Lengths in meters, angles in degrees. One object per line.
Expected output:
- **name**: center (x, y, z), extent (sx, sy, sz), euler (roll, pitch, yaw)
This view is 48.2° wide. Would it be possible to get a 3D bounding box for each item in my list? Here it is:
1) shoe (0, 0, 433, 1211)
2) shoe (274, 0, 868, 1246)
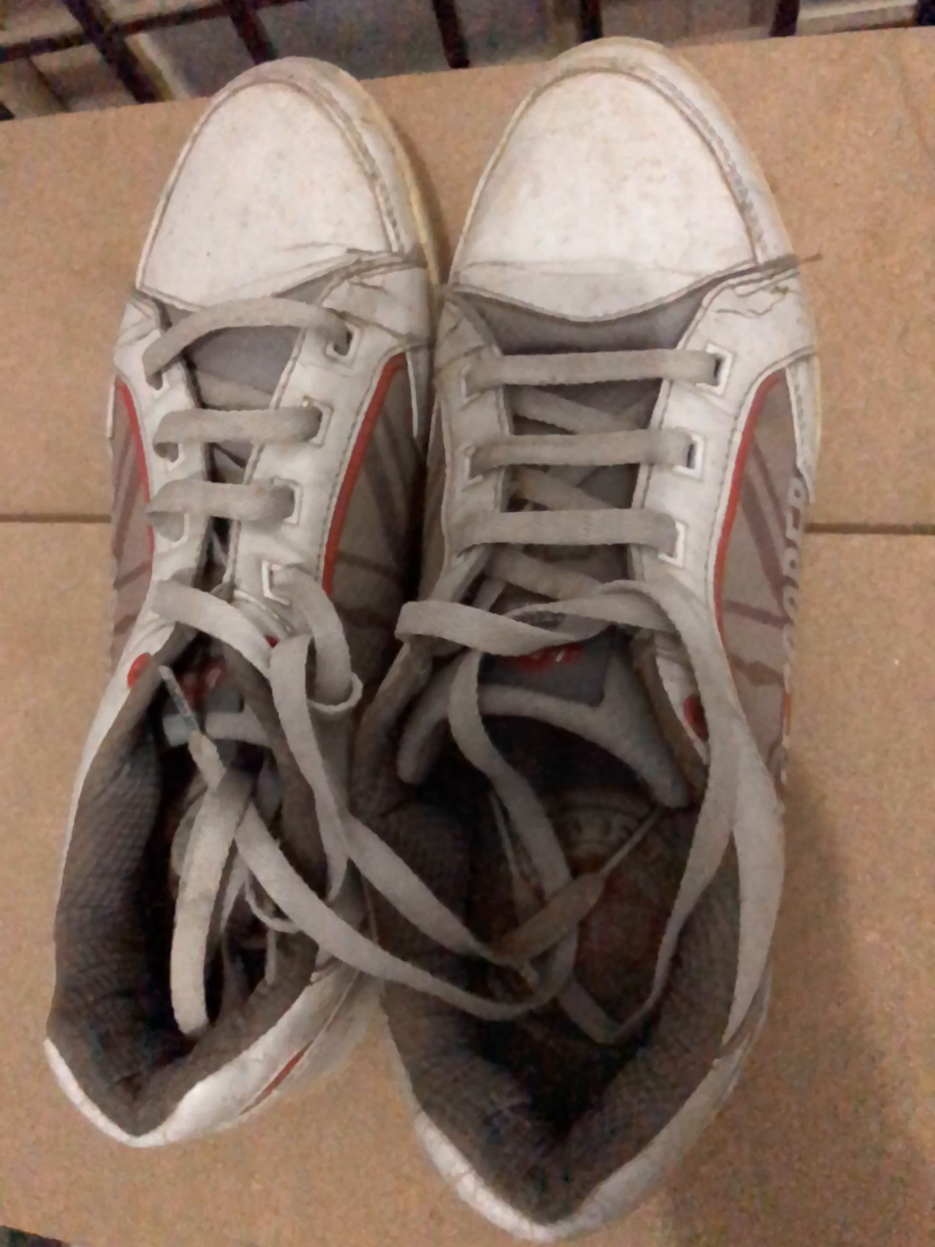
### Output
- **shoe**: center (-0.075, -0.020, 0.261), extent (0.100, 0.080, 0.270), euler (2, 79, 11)
- **shoe**: center (0.030, -0.011, 0.240), extent (0.100, 0.080, 0.270), euler (2, 79, 11)
